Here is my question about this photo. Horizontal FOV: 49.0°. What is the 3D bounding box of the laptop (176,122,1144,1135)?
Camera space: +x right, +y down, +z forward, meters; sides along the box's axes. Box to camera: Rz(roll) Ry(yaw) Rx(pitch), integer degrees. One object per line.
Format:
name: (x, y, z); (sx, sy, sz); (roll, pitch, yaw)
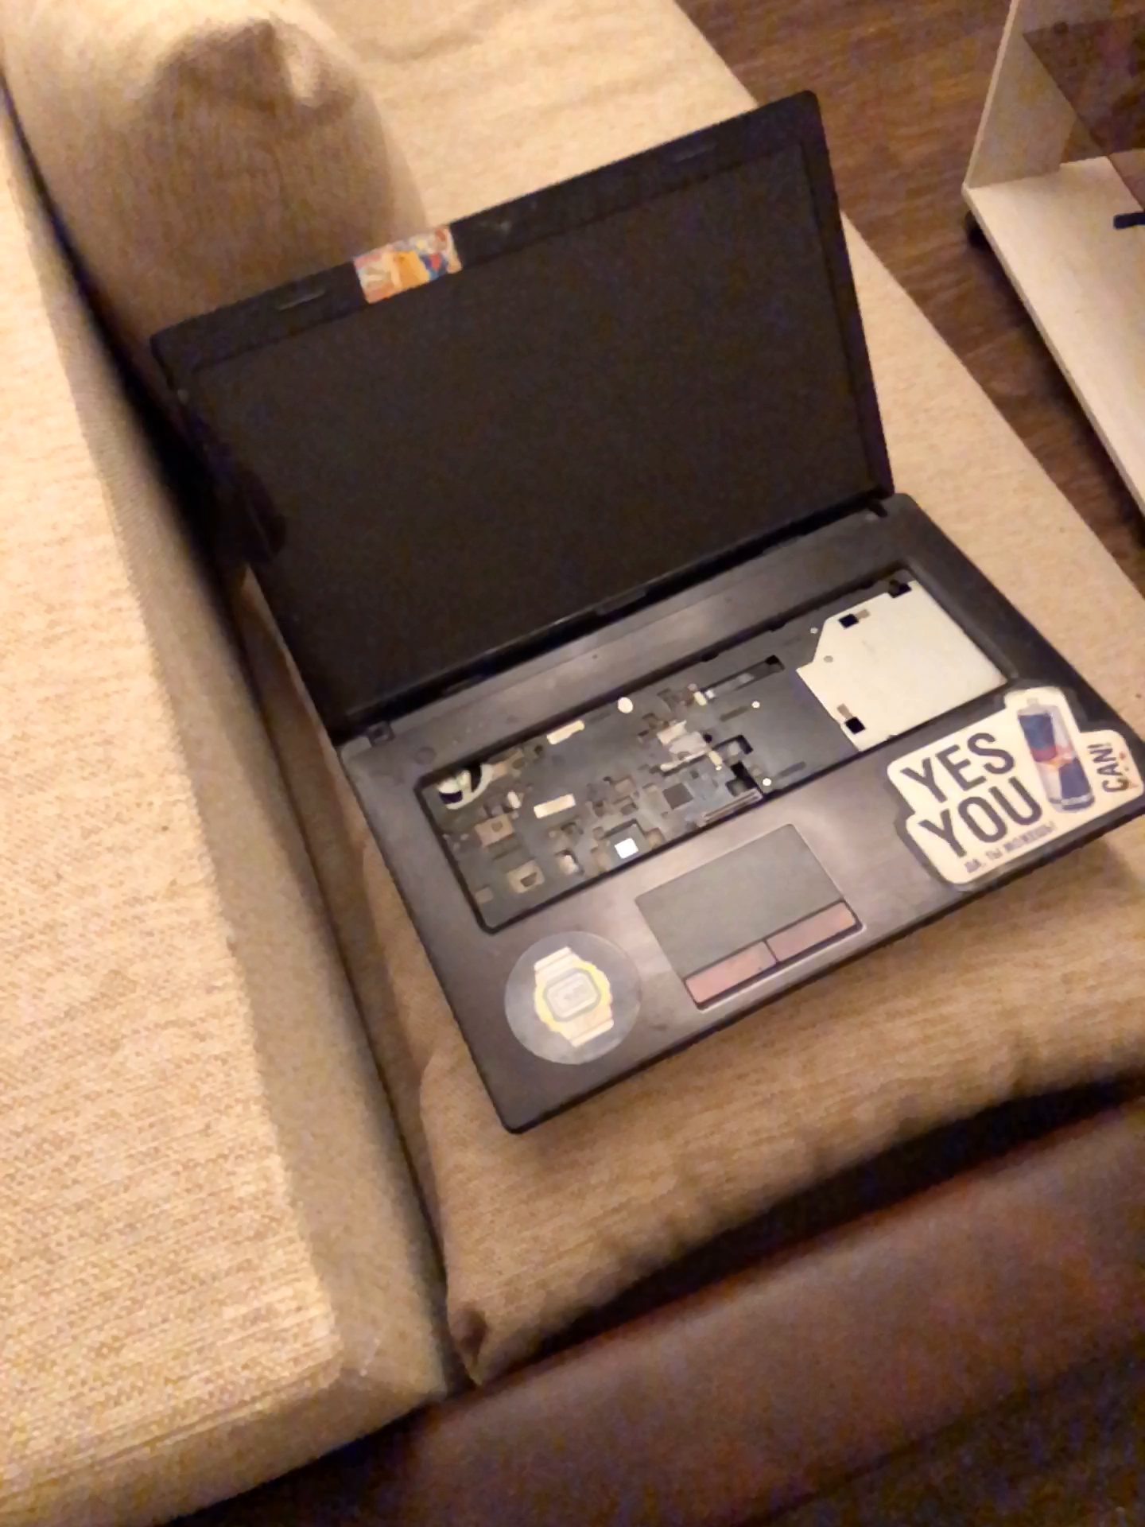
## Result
laptop: (0.061, -0.097, 0.694); (0.412, 0.198, 0.409); (-24, 59, -10)
